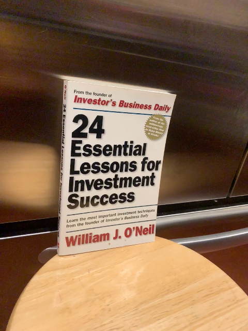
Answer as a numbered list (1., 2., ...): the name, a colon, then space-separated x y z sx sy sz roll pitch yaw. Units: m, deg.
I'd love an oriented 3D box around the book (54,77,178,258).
1. book: -0.014 0.007 0.355 0.150 0.229 0.030 -1 17 -24
